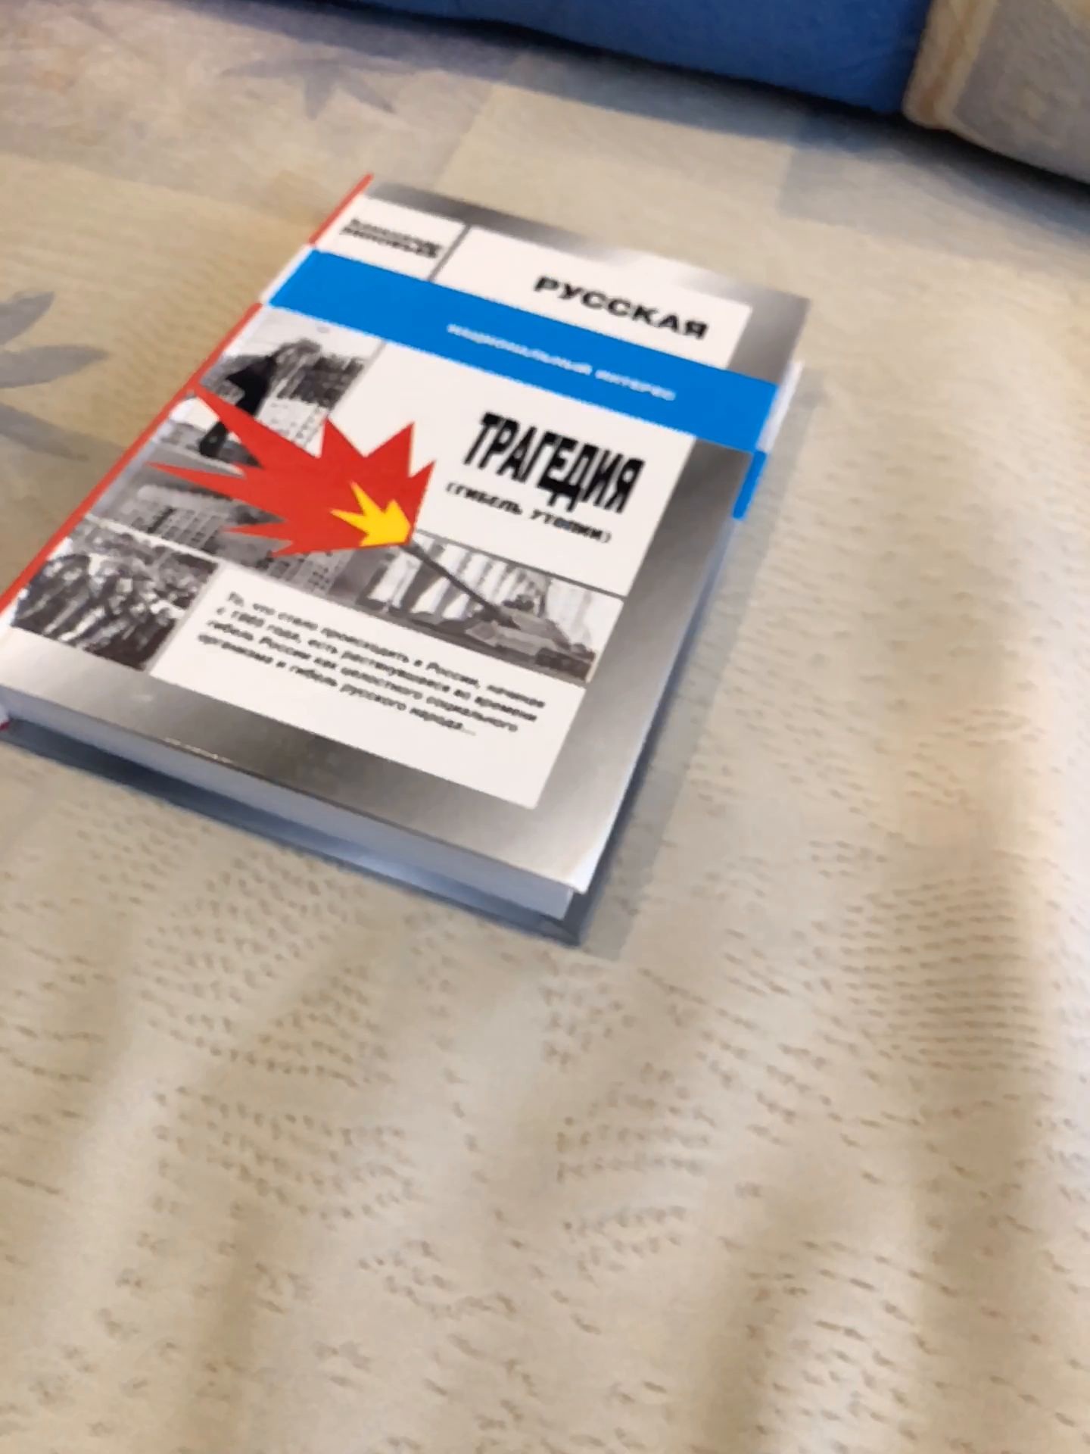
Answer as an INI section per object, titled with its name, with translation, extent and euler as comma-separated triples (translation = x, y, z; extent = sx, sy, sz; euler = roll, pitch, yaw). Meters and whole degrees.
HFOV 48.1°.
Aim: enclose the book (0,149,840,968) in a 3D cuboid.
[book]
translation = -0.029, -0.061, 0.308
extent = 0.160, 0.040, 0.201
euler = 18, 54, 10
